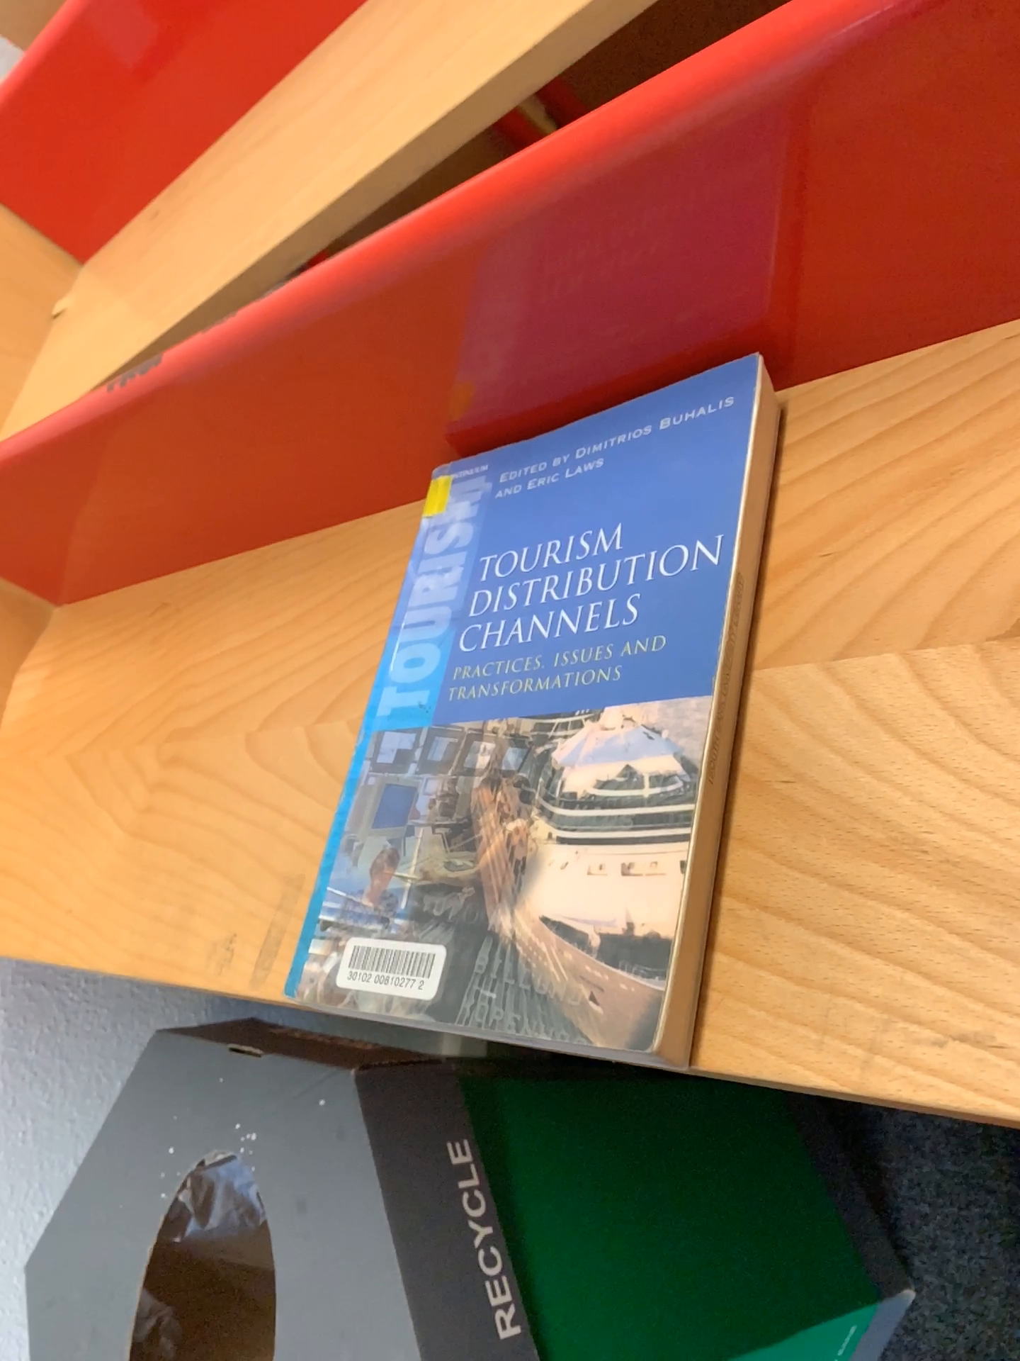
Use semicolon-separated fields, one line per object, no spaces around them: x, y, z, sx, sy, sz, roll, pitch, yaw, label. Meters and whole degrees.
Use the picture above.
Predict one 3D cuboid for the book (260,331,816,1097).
0.010;0.005;0.370;0.168;0.030;0.238;-7;61;40;book
